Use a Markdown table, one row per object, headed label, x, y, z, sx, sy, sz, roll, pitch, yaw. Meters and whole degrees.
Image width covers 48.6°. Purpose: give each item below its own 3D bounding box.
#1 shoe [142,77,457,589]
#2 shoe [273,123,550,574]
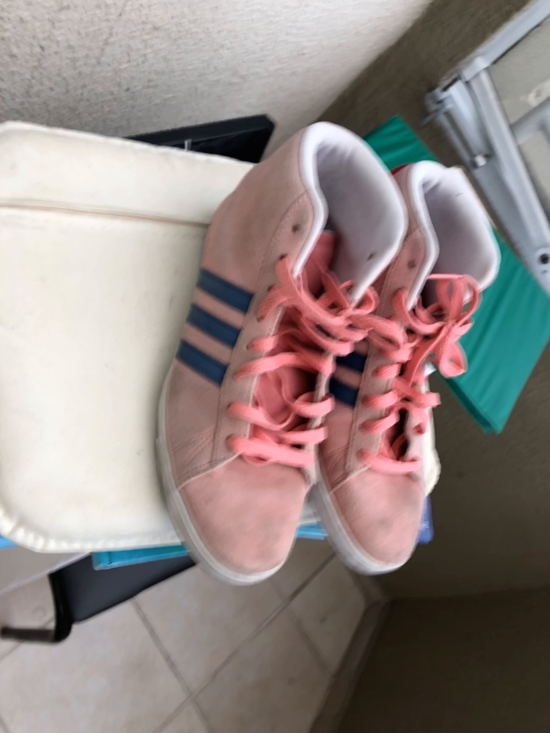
| label | x | y | z | sx | sy | sz | roll | pitch | yaw |
| --- | --- | --- | --- | --- | --- | --- | --- | --- | --- |
| shoe | 0.006 | -0.009 | 0.353 | 0.100 | 0.129 | 0.251 | 15 | 63 | -31 |
| shoe | 0.088 | -0.003 | 0.402 | 0.100 | 0.129 | 0.250 | 8 | 66 | -34 |
